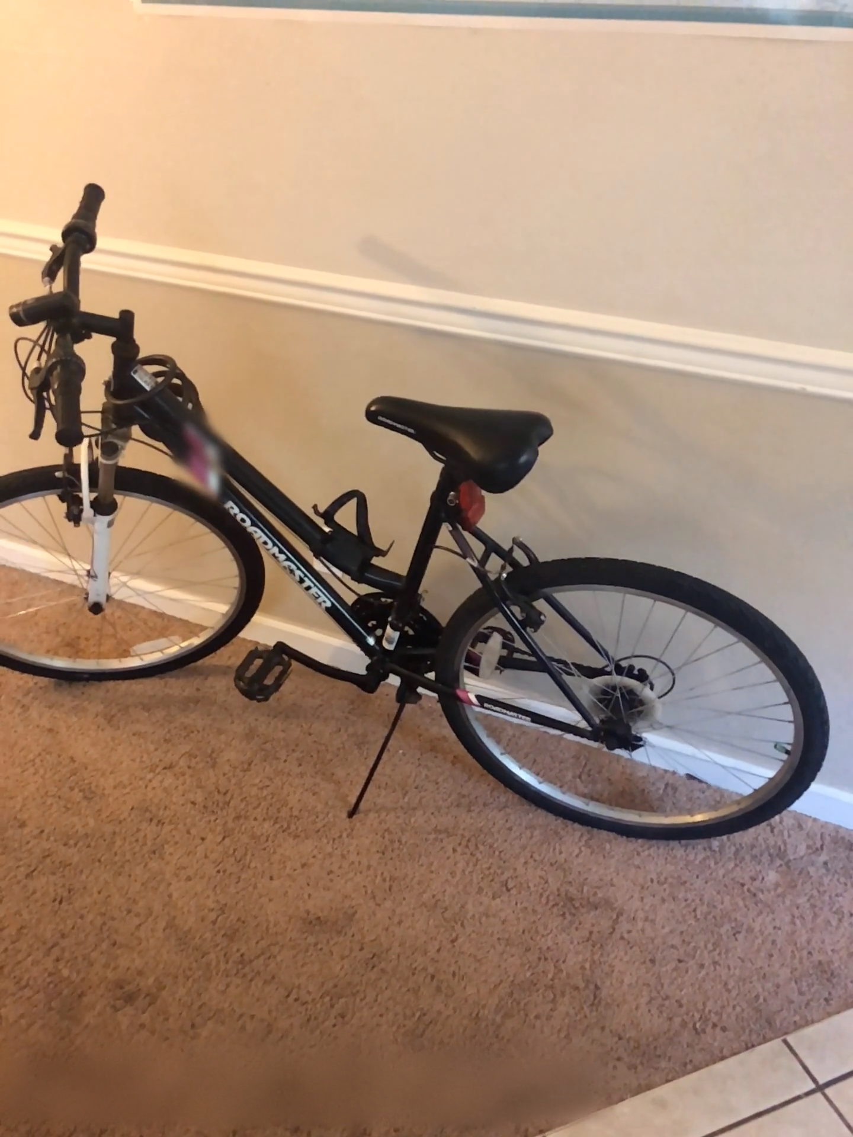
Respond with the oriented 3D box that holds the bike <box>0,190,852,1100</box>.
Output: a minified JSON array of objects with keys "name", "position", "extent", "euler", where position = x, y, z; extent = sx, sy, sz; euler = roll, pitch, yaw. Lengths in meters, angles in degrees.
[{"name":"bike","position":[-0.201,0.057,1.699],"extent":[1.864,1.177,0.682],"euler":[9,31,11]}]
